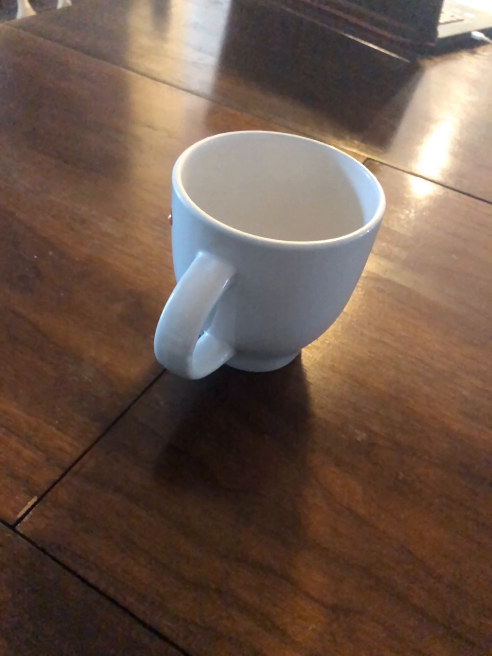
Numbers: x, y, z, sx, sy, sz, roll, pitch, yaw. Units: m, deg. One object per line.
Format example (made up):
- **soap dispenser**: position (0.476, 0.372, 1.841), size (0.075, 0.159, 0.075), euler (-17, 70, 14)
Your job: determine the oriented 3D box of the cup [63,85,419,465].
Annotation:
- **cup**: position (0.004, -0.037, 0.285), size (0.110, 0.100, 0.150), euler (22, 46, 13)
